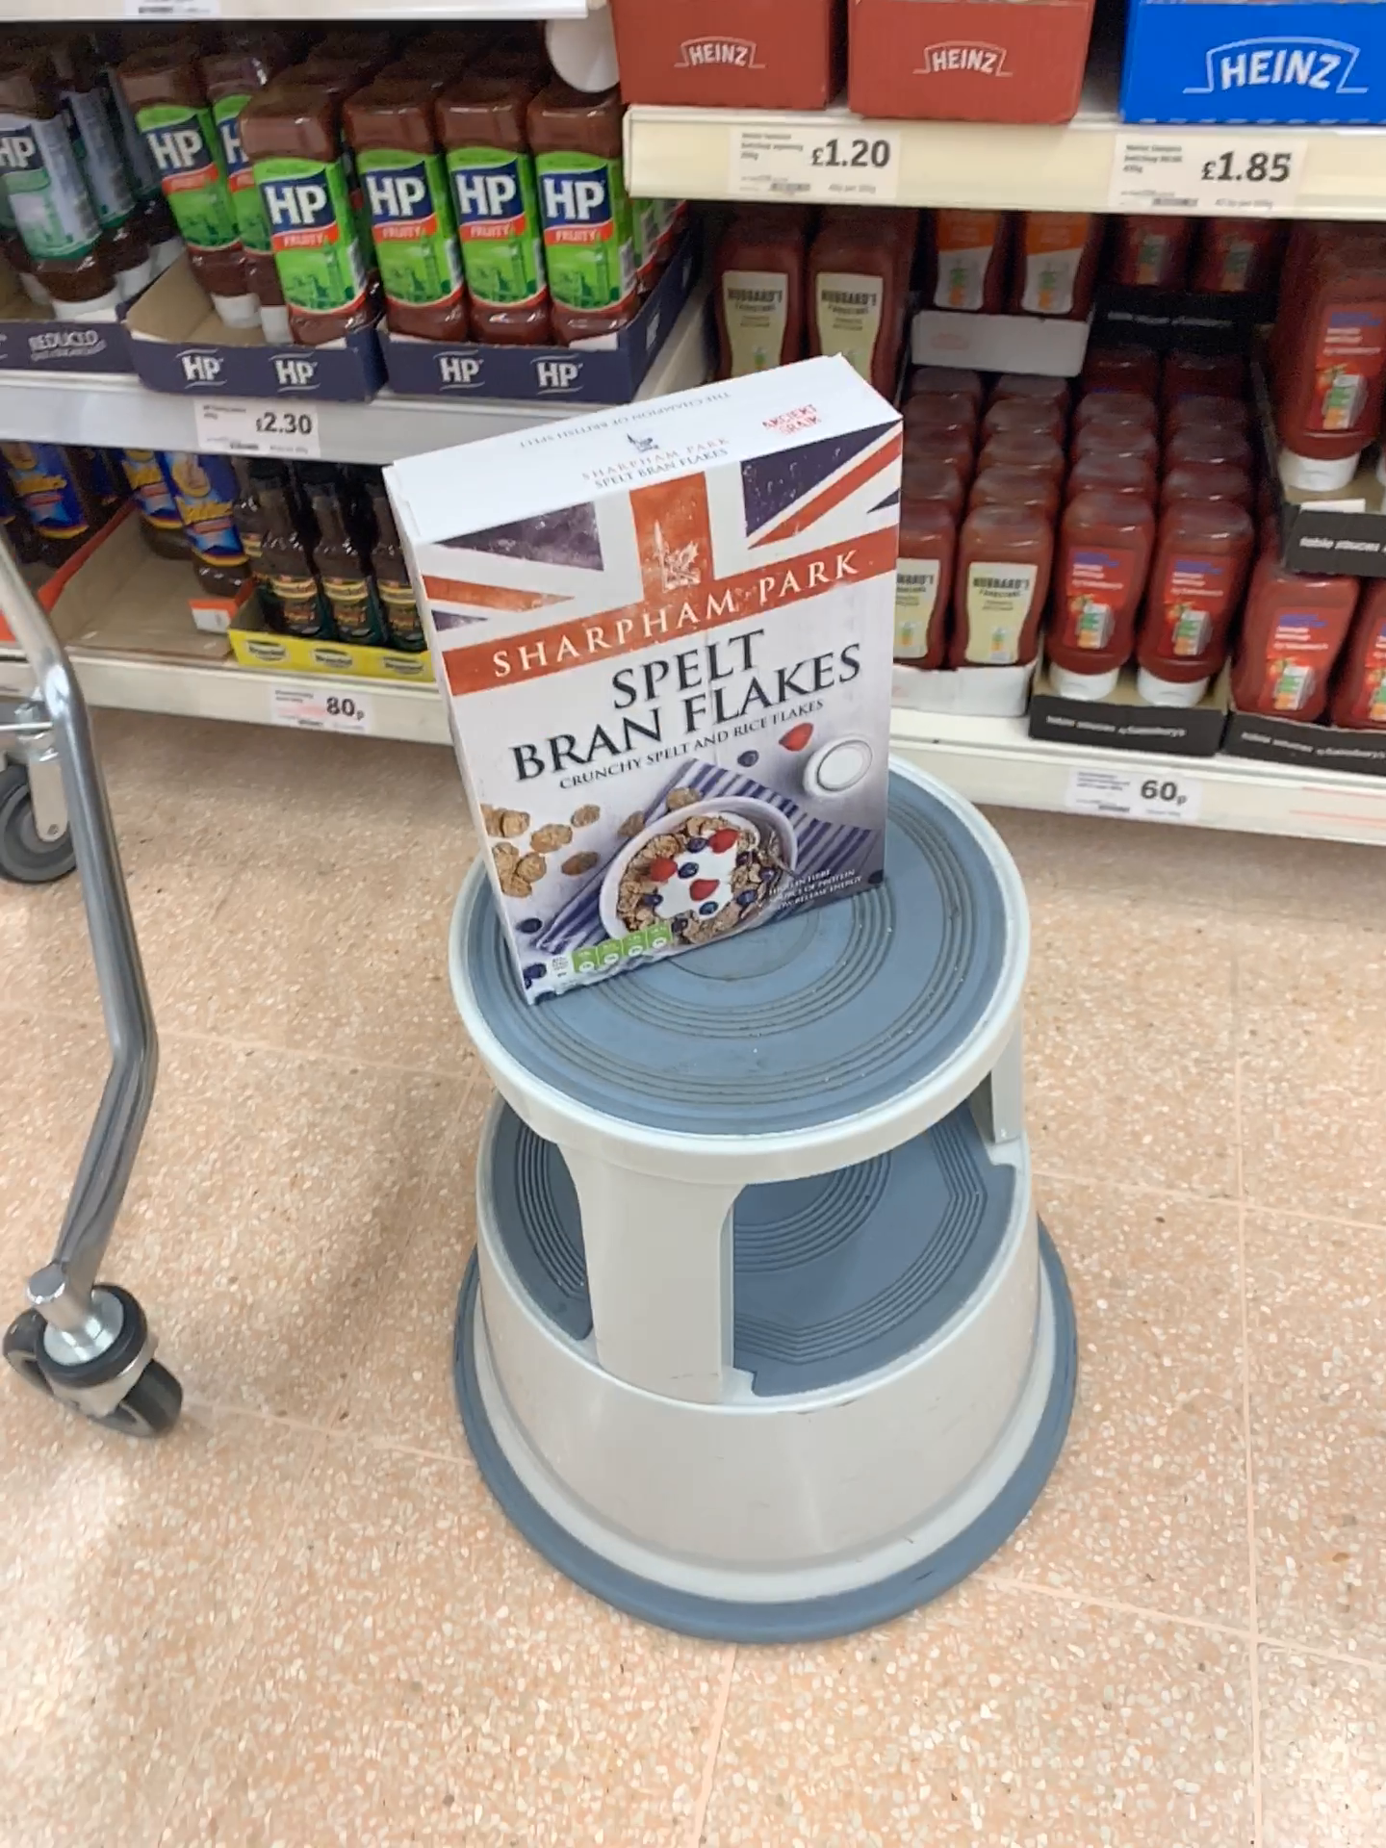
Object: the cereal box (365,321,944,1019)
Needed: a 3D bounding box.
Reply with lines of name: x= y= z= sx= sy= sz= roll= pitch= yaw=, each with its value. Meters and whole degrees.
cereal box: x=-0.006 y=-0.097 z=0.611 sx=0.200 sy=0.258 sz=0.071 roll=-18 pitch=48 yaw=-11
